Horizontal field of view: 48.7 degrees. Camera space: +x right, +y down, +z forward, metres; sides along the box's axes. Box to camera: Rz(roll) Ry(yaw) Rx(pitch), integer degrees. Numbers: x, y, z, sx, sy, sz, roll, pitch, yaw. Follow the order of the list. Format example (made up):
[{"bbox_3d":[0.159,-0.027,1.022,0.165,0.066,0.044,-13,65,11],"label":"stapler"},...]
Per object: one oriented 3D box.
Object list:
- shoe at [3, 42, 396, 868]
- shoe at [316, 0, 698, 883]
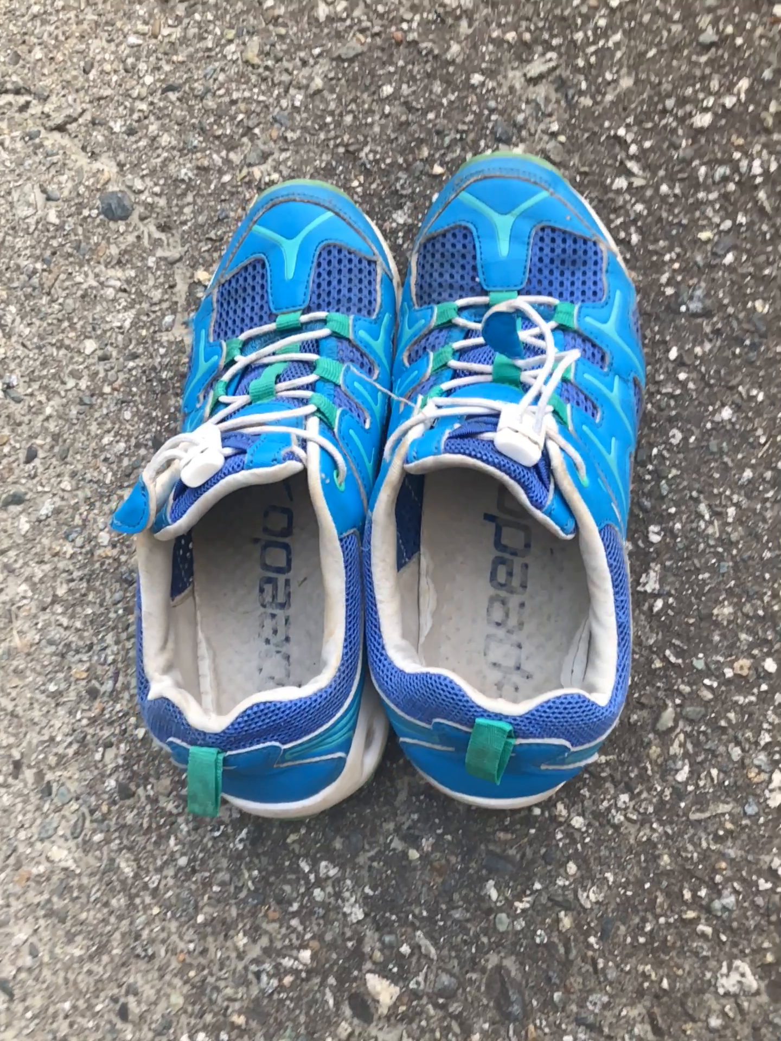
[{"bbox_3d":[-0.058,-0.023,0.319,0.100,0.090,0.260,0,81,11],"label":"shoe"},{"bbox_3d":[0.040,-0.025,0.291,0.100,0.090,0.250,0,81,11],"label":"shoe"}]
